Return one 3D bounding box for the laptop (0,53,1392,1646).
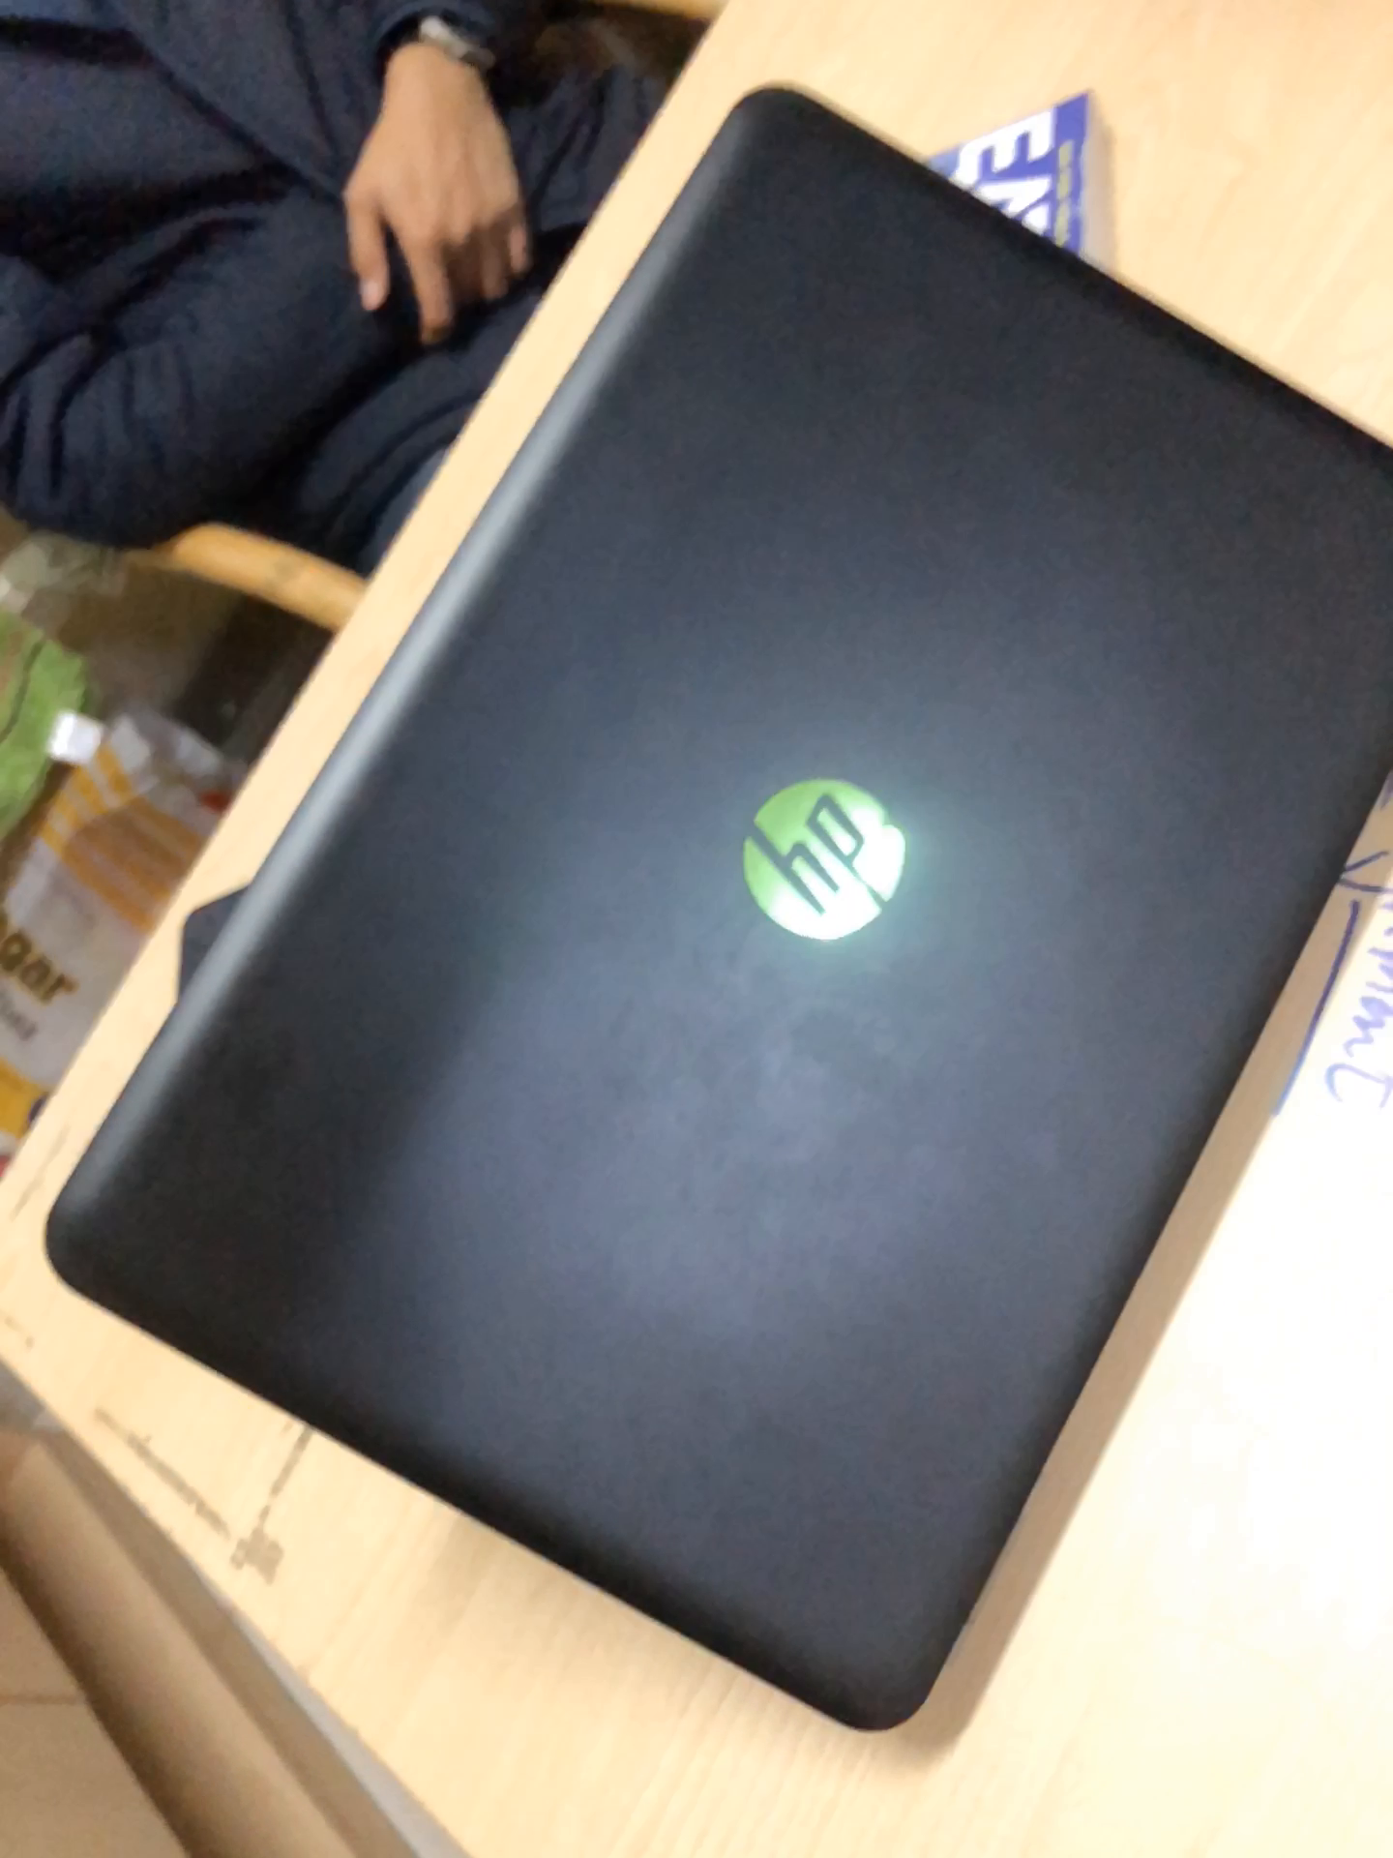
[{"bbox_3d":[0.022,-0.035,0.440,0.231,0.167,0.359,23,79,39],"label":"laptop"}]
